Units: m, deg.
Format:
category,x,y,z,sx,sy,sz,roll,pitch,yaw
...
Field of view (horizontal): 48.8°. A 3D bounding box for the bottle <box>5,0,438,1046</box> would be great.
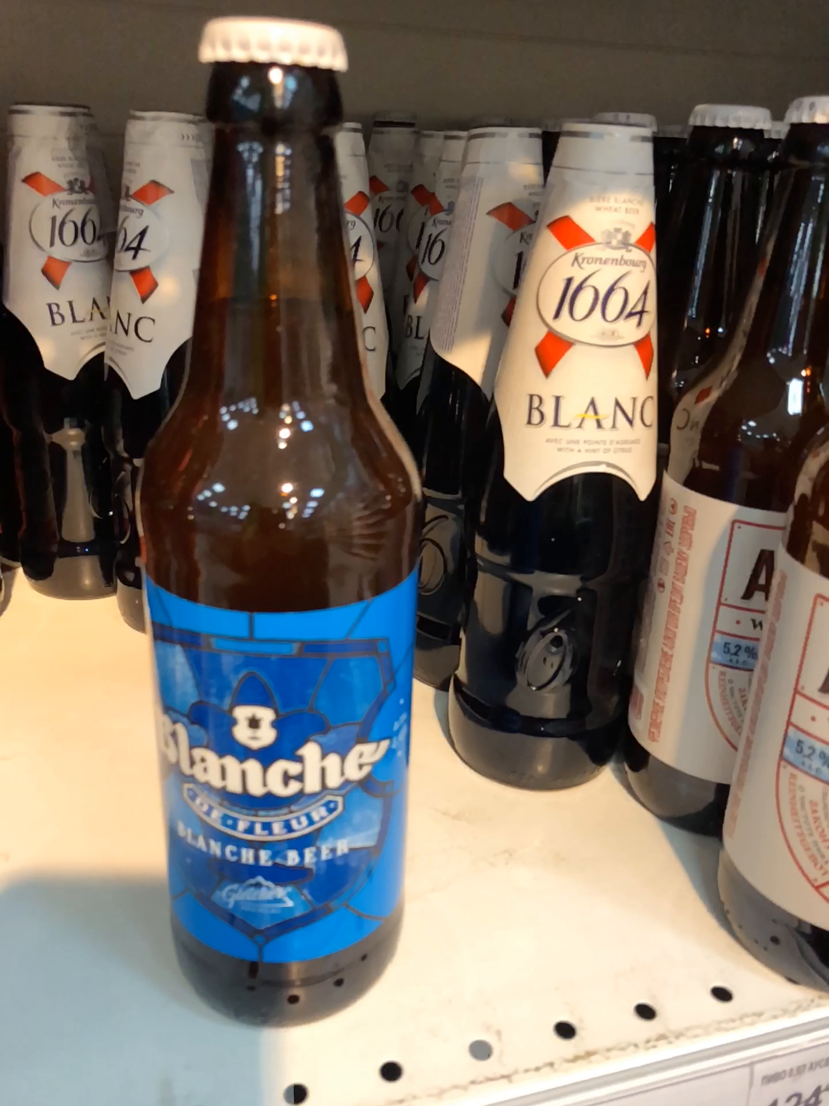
category,x,y,z,sx,sy,sz,roll,pitch,yaw
bottle,-0.037,0.004,0.228,0.070,0.244,0.070,2,23,-1
